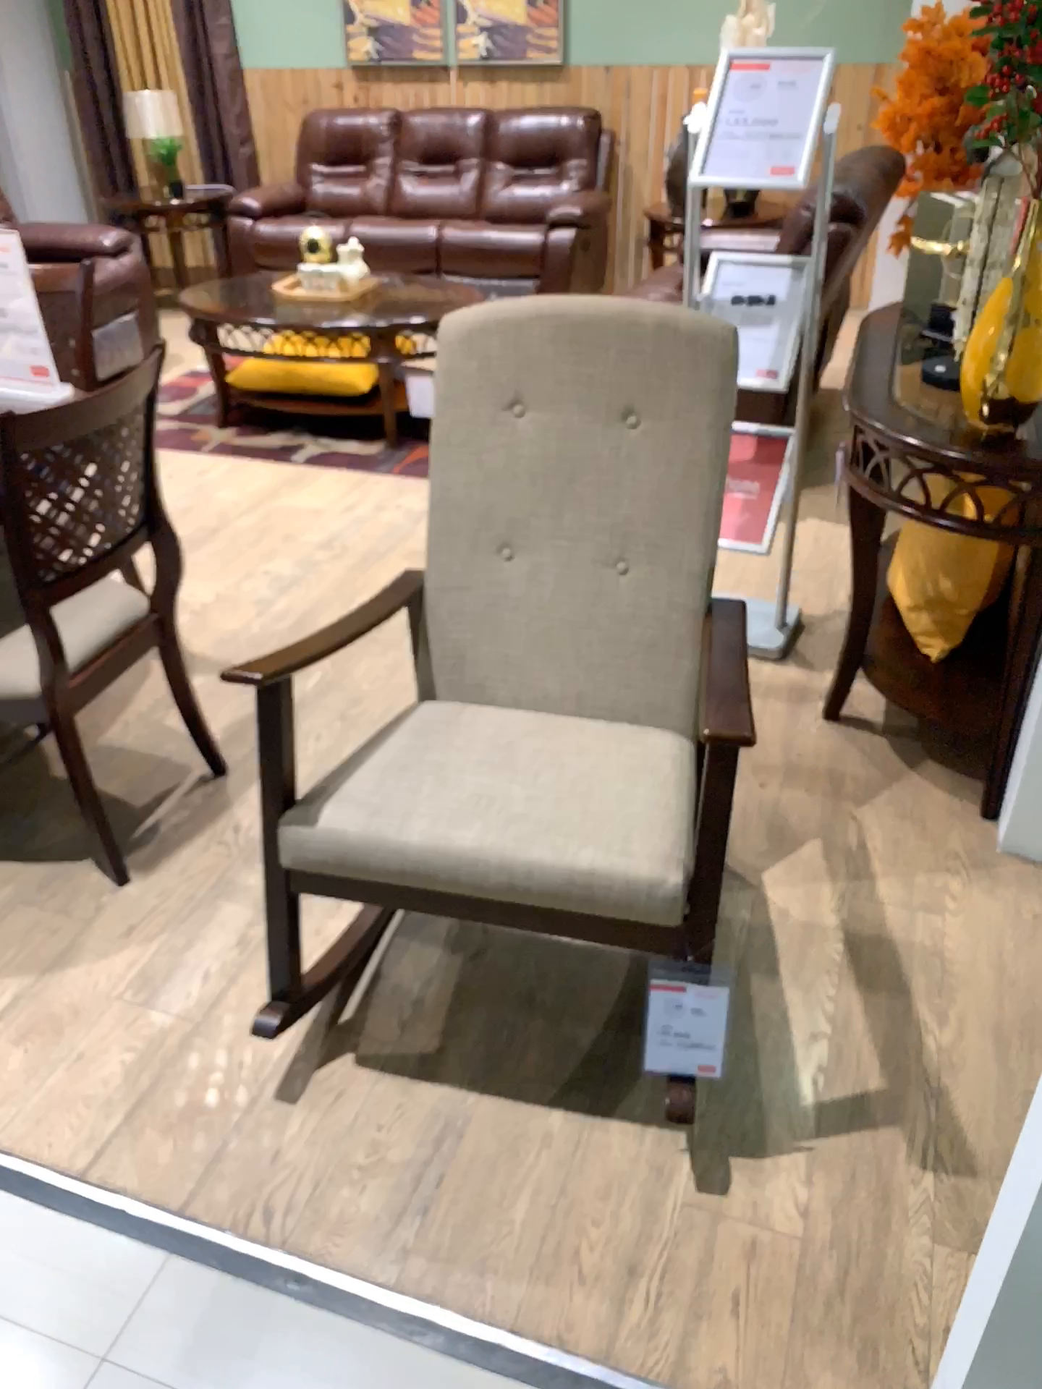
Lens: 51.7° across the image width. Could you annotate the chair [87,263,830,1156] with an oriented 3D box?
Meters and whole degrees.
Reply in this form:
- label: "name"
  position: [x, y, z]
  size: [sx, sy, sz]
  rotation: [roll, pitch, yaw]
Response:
- label: "chair"
  position: [0.019, -0.044, 1.624]
  size: [0.730, 0.976, 0.843]
  rotation: [6, 33, 12]
